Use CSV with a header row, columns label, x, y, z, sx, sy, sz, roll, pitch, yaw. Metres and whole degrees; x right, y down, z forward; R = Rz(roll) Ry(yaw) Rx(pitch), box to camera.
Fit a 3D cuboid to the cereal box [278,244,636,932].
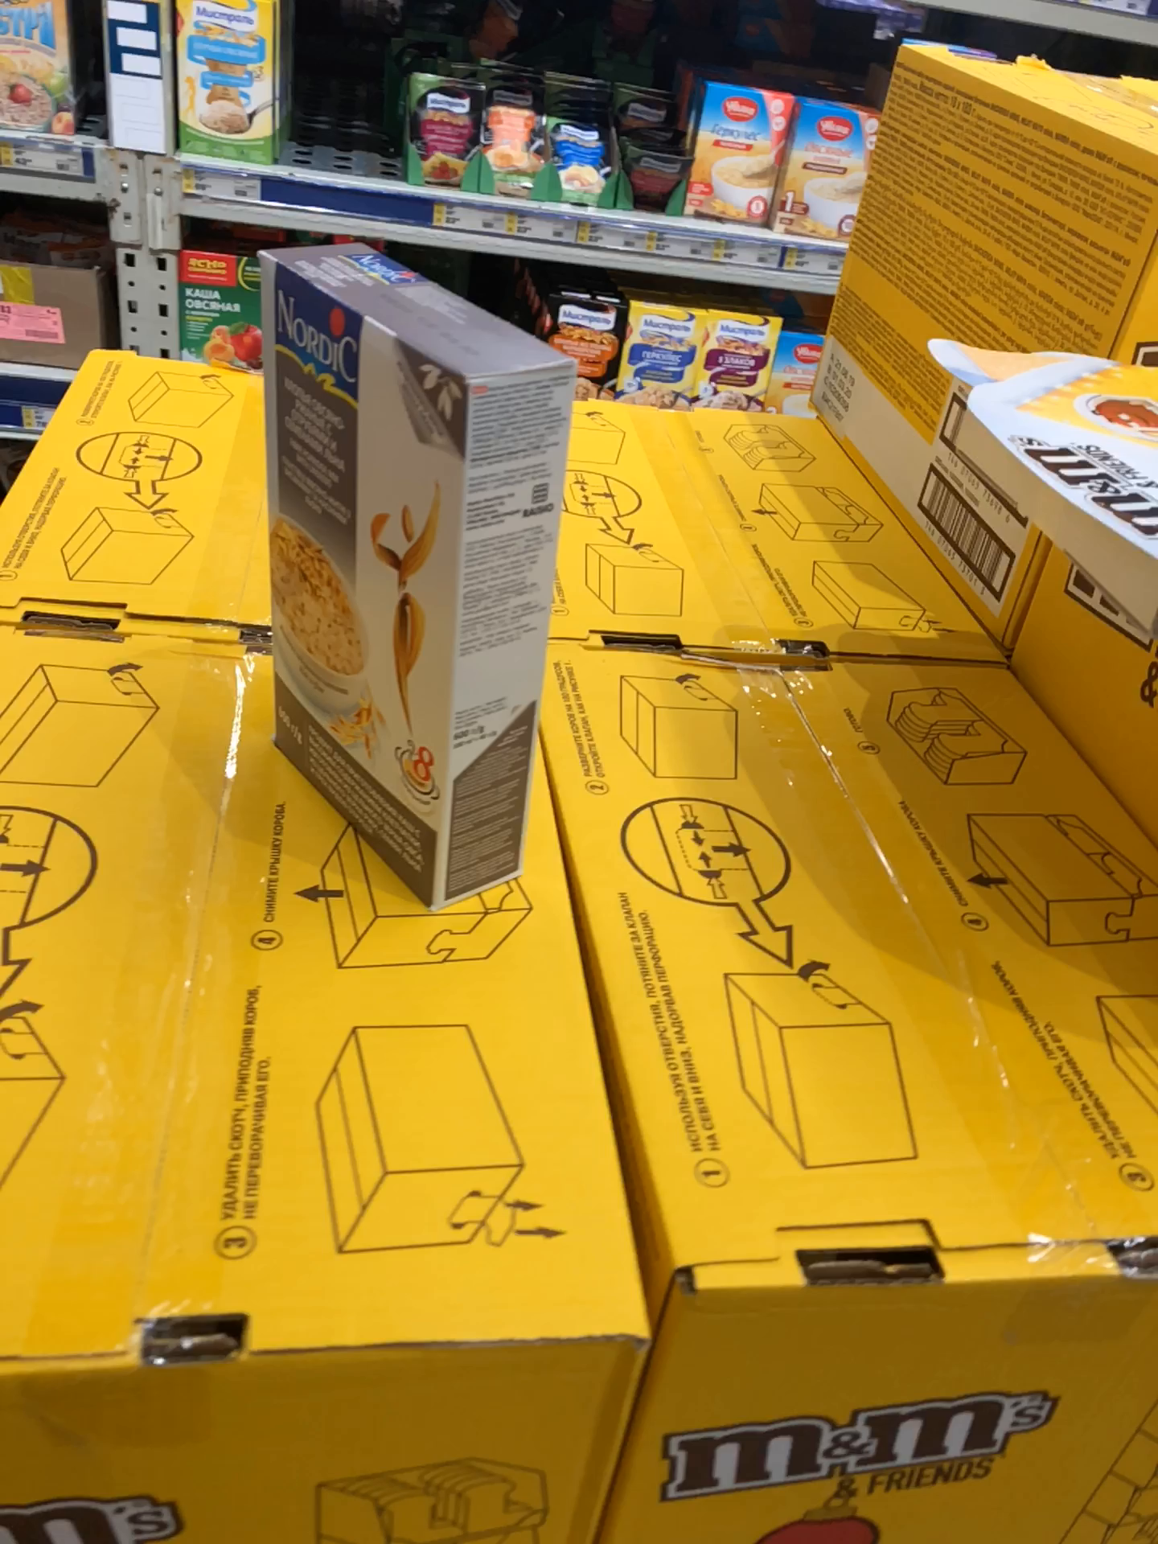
label,x,y,z,sx,sy,sz,roll,pitch,yaw
cereal box,-0.060,-0.071,0.499,0.050,0.218,0.151,-19,44,-33
